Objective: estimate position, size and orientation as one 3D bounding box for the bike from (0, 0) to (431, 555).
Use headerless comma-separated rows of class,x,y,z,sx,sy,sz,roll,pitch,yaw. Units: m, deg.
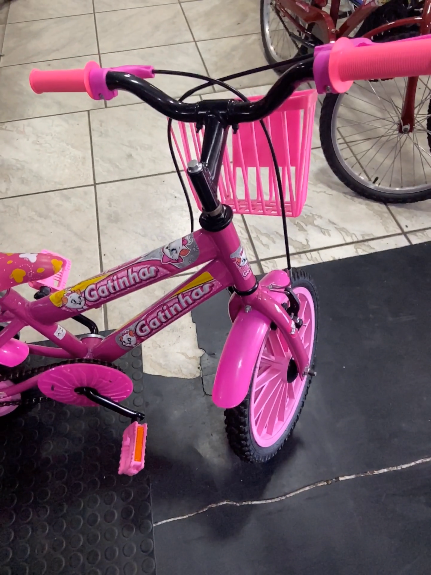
bike,-0.257,0.007,0.726,0.939,0.789,0.467,-9,53,-6
